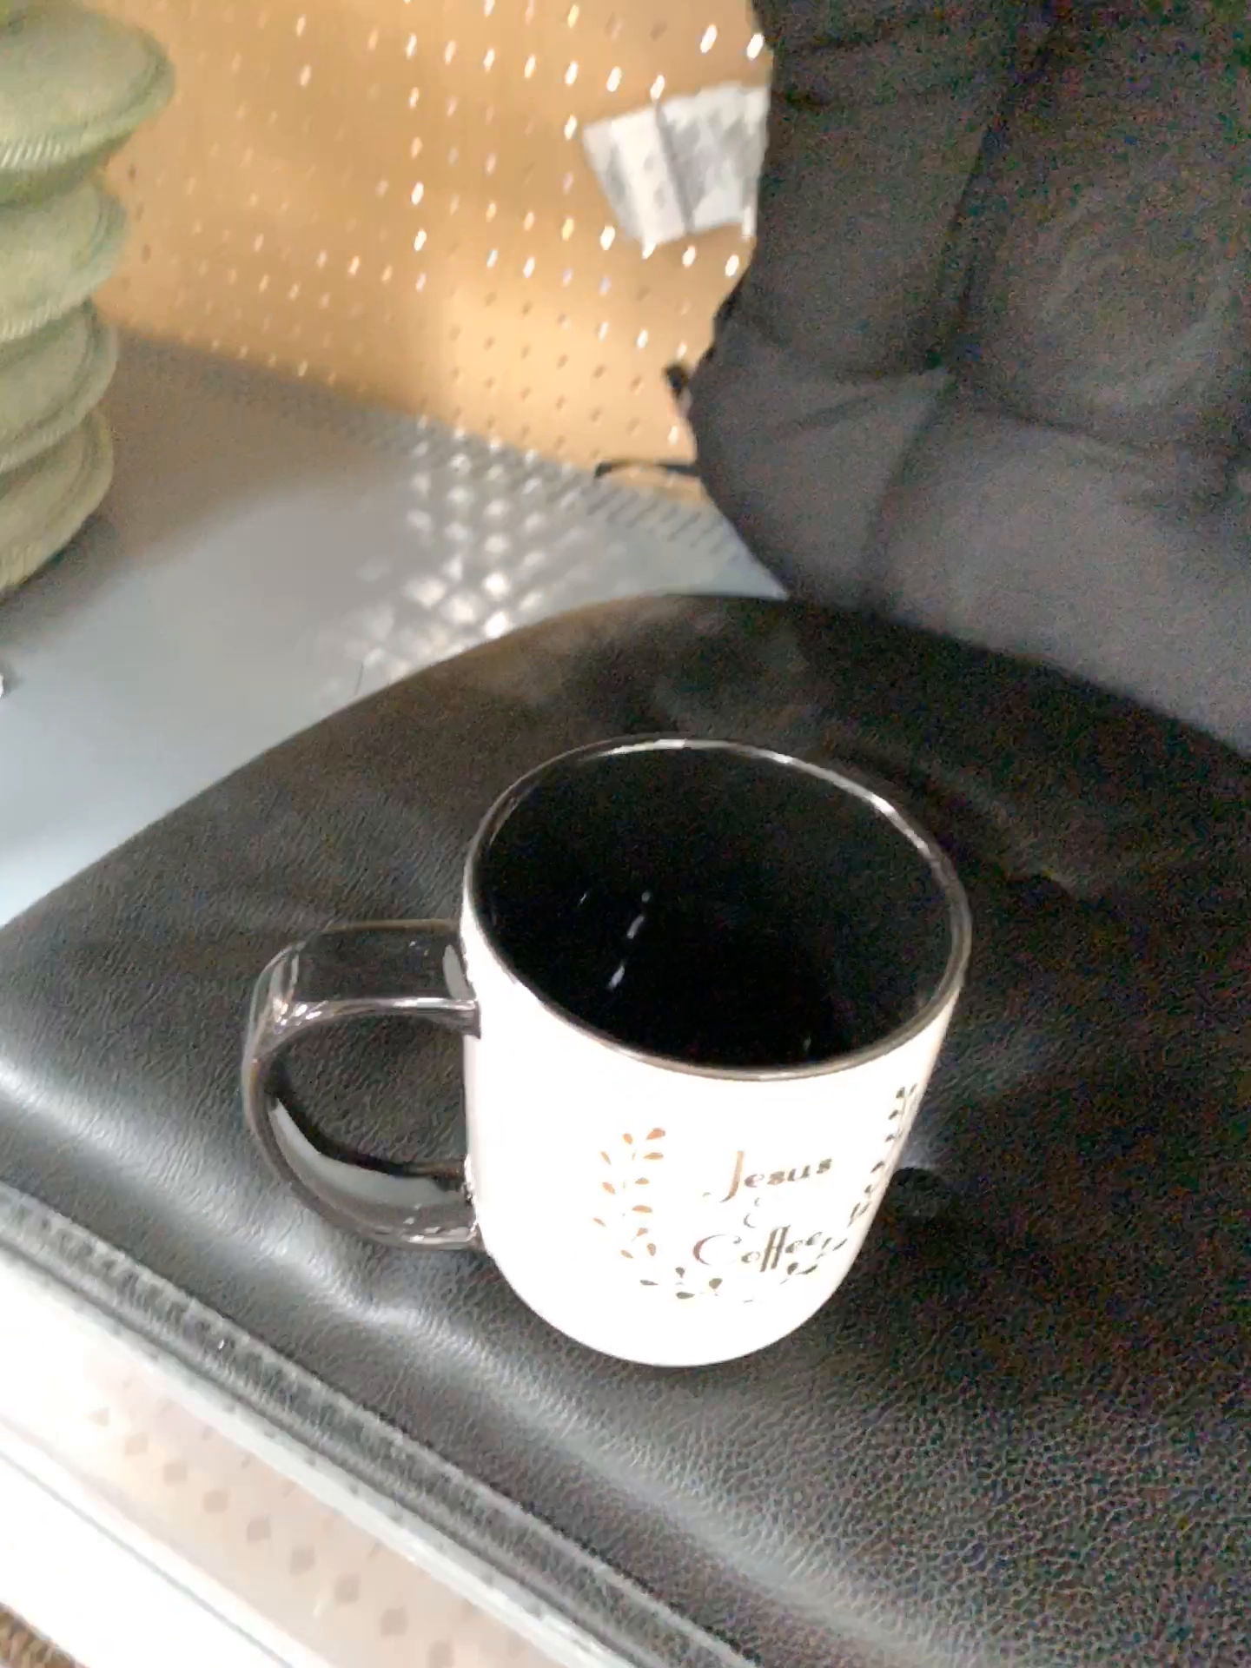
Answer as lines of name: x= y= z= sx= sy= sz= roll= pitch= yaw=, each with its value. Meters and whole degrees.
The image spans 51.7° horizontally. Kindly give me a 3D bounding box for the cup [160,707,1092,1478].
cup: x=-0.006 y=0.048 z=0.265 sx=0.142 sy=0.104 sz=0.102 roll=-3 pitch=39 yaw=-8
